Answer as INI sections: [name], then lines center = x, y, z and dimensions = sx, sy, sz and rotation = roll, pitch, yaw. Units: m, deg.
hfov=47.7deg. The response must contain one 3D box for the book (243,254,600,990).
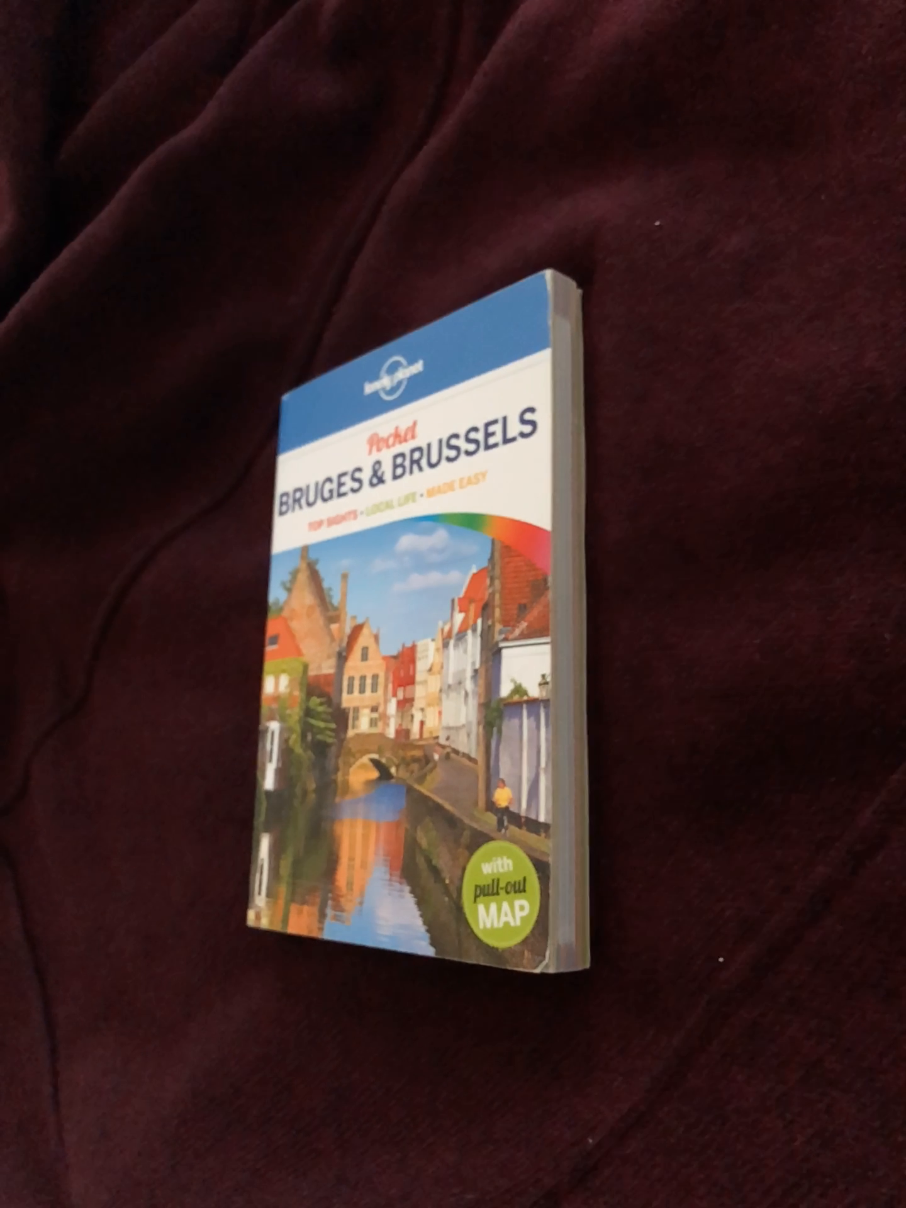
[book]
center = -0.012, 0.006, 0.260
dimensions = 0.111, 0.016, 0.158
rotation = -11, 73, 46
